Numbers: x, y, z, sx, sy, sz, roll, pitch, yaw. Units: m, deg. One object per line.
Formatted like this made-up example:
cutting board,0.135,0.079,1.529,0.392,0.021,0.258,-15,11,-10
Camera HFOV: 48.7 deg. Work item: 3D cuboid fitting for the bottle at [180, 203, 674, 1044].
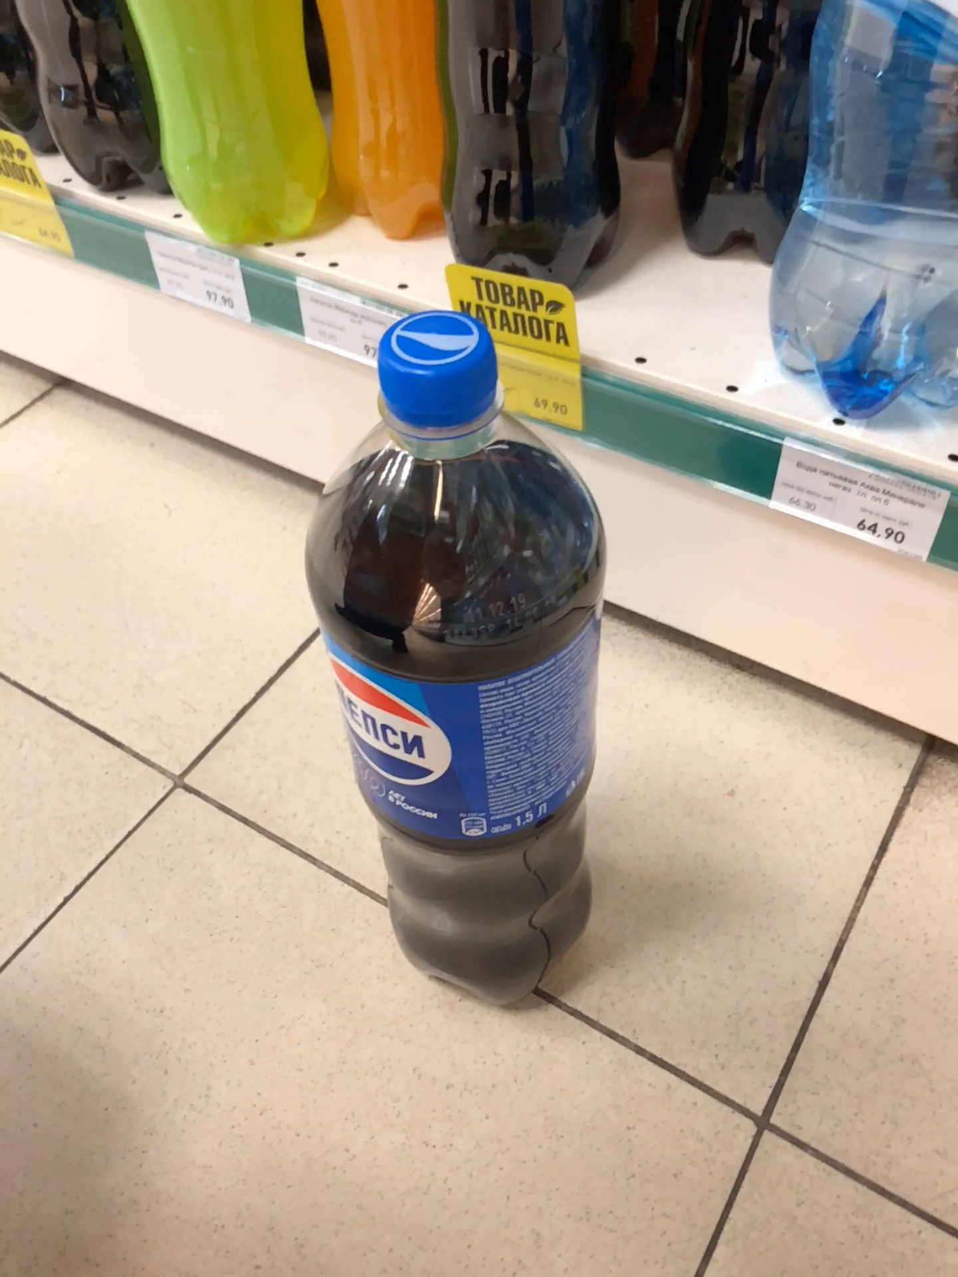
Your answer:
bottle,-0.005,0.025,0.380,0.089,0.315,0.085,-2,48,2
